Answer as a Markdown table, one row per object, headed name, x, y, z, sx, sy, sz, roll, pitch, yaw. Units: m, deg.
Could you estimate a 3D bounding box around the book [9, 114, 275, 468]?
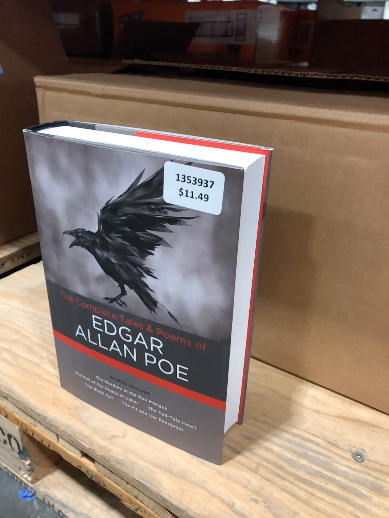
| name | x | y | z | sx | sy | sz | roll | pitch | yaw |
| --- | --- | --- | --- | --- | --- | --- | --- | --- | --- |
| book | -0.041 | 0.025 | 0.337 | 0.171 | 0.240 | 0.054 | 15 | 31 | 25 |
